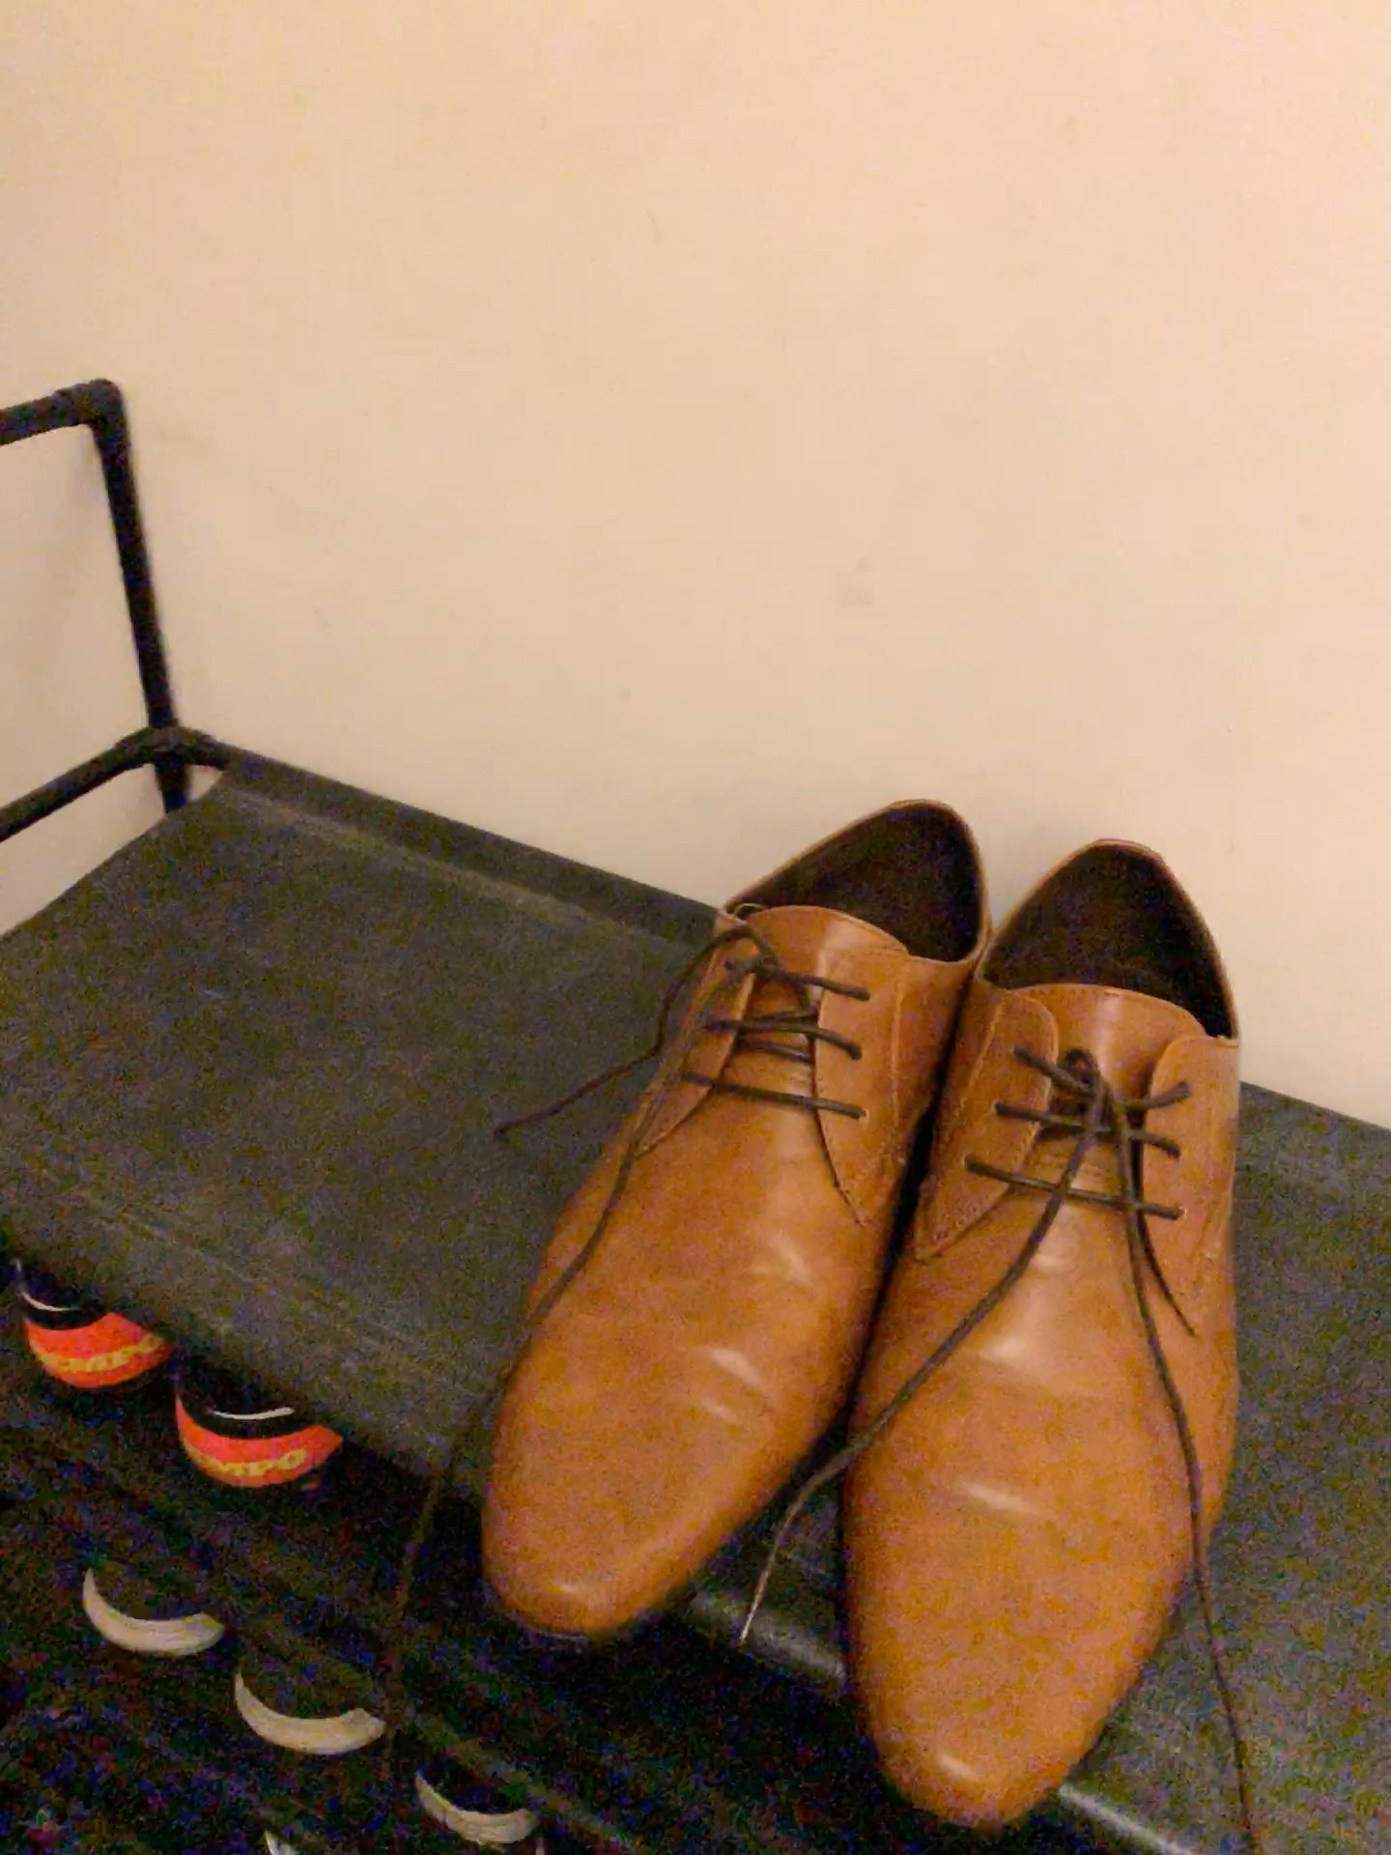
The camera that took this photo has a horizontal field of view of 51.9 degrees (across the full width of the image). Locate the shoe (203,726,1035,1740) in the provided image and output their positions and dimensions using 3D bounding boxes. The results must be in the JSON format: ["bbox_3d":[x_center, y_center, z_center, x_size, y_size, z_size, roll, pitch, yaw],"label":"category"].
[{"bbox_3d":[0.003,0.054,0.407,0.110,0.099,0.272,16,37,19],"label":"shoe"}]

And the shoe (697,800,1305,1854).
[{"bbox_3d":[0.099,0.085,0.393,0.100,0.099,0.293,13,36,15],"label":"shoe"}]
